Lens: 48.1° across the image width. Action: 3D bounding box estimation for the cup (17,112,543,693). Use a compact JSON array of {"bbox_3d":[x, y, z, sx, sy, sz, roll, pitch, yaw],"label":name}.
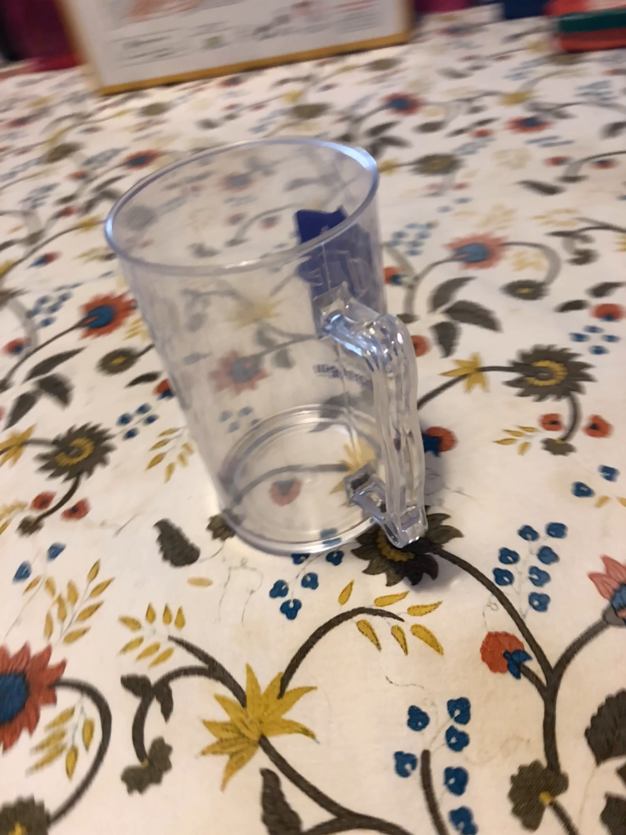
[{"bbox_3d":[-0.007,-0.010,0.206,0.080,0.109,0.111,-33,47,-22],"label":"cup"}]
